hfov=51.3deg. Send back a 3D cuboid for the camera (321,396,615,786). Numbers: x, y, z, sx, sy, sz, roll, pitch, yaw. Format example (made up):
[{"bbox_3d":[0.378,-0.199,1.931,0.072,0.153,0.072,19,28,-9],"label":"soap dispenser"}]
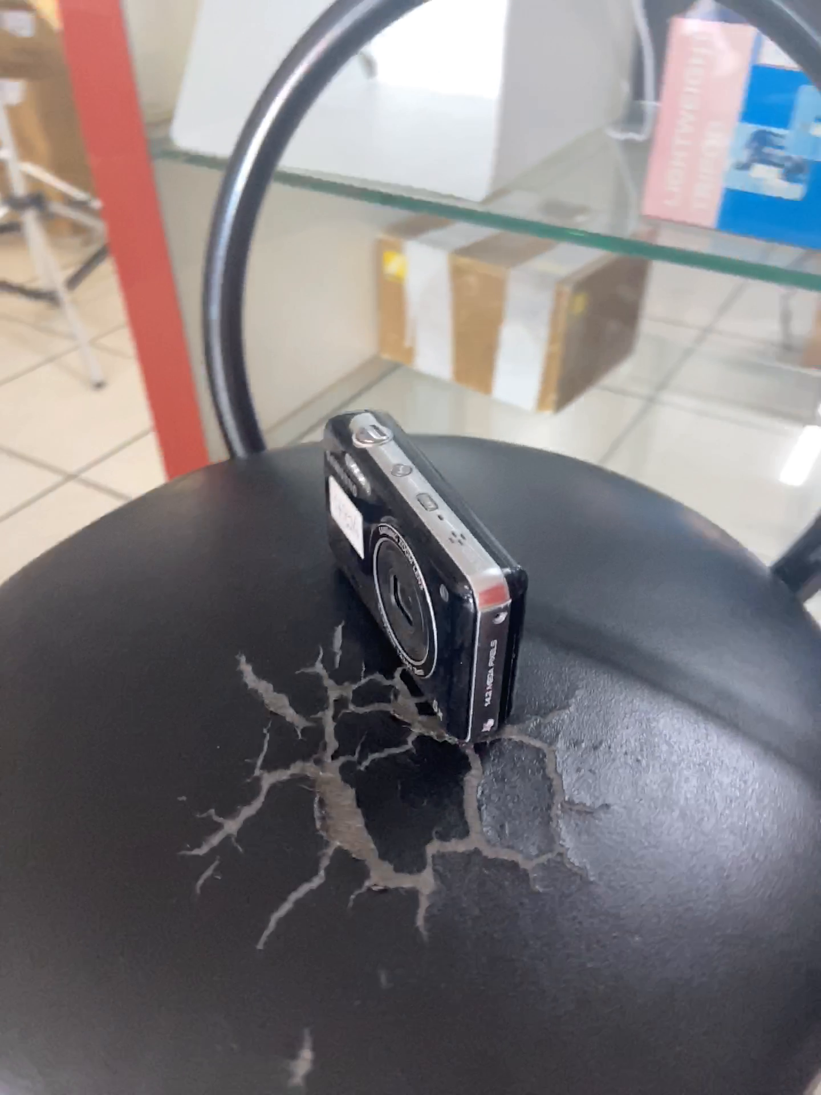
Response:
[{"bbox_3d":[0.010,0.006,0.231,0.030,0.050,0.100,-17,40,-19],"label":"camera"}]
